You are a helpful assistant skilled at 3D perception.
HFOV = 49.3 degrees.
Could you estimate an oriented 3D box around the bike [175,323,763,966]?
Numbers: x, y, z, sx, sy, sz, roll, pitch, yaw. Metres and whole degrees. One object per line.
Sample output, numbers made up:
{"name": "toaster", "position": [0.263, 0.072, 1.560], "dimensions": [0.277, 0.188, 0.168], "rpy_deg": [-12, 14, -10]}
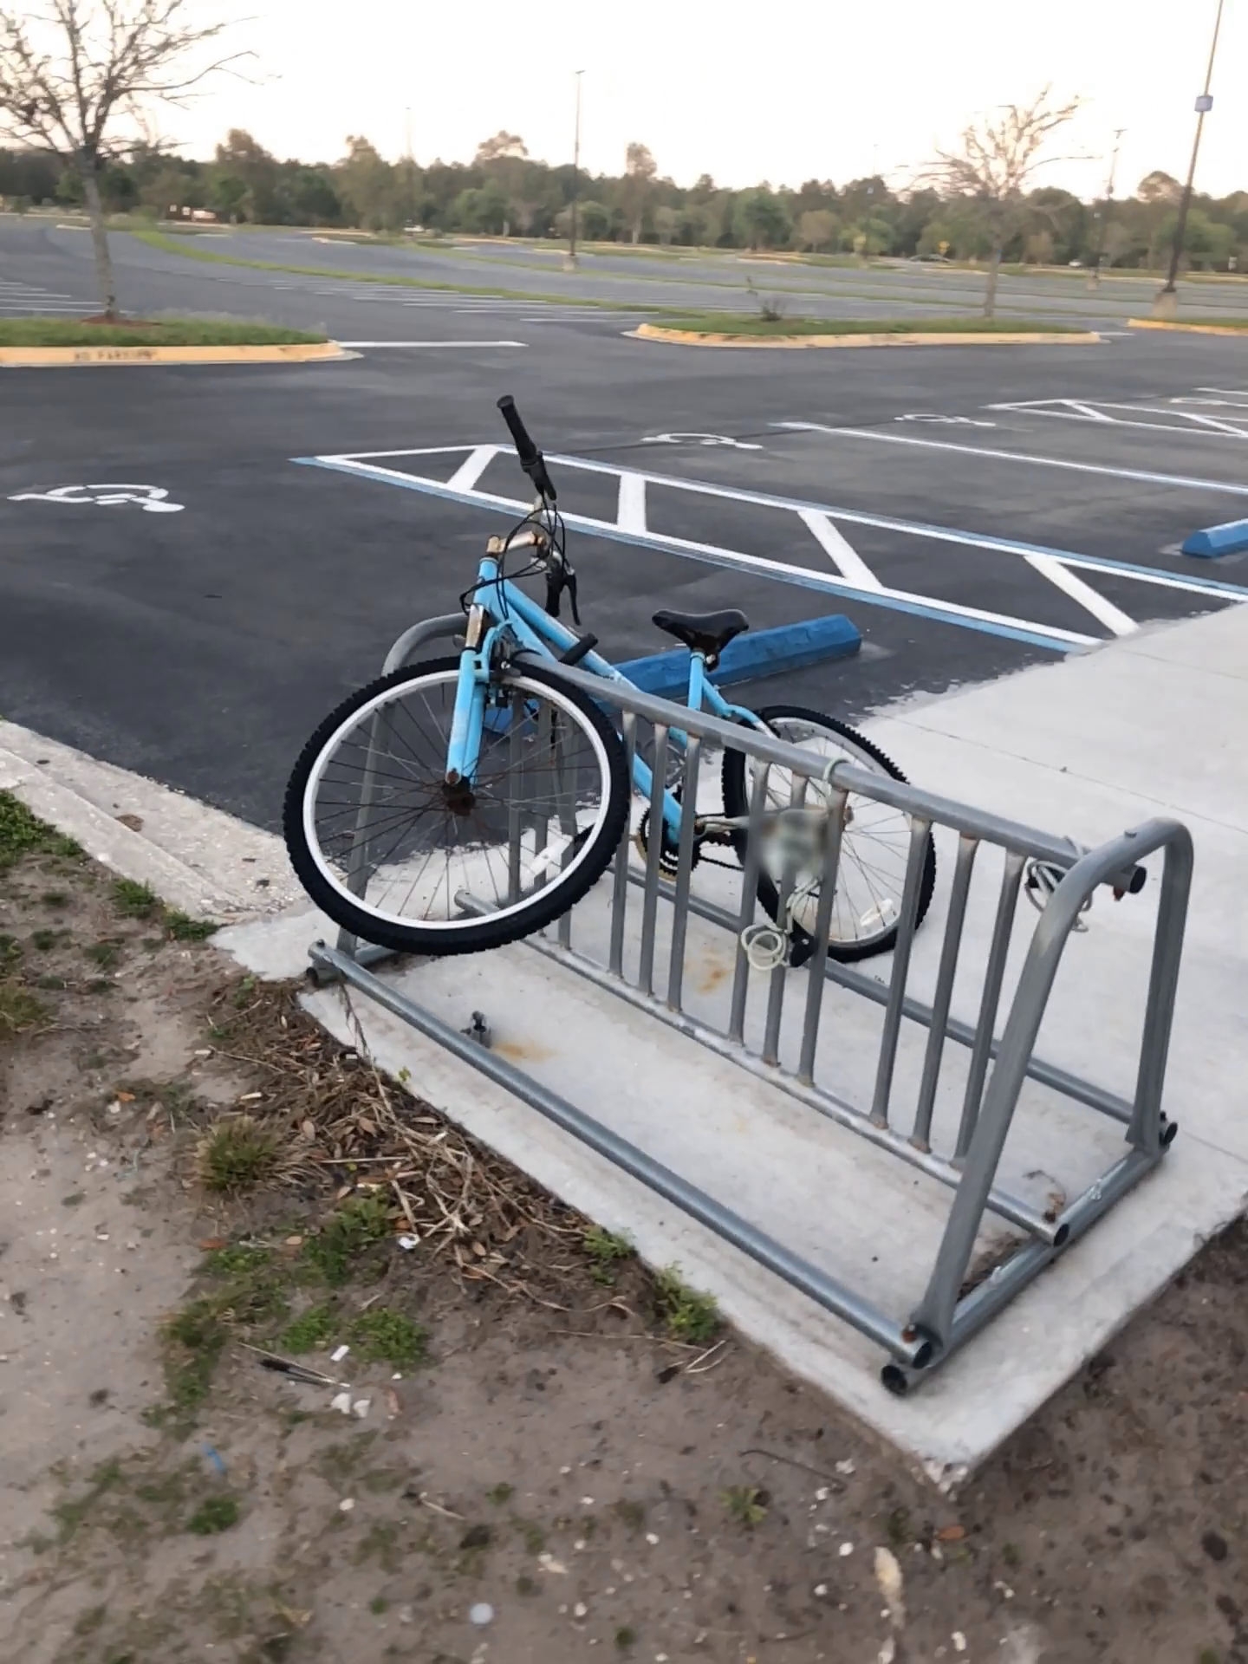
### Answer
{"name": "bike", "position": [-0.333, -0.376, 2.796], "dimensions": [0.937, 1.128, 0.550], "rpy_deg": [-5, 23, -22]}
